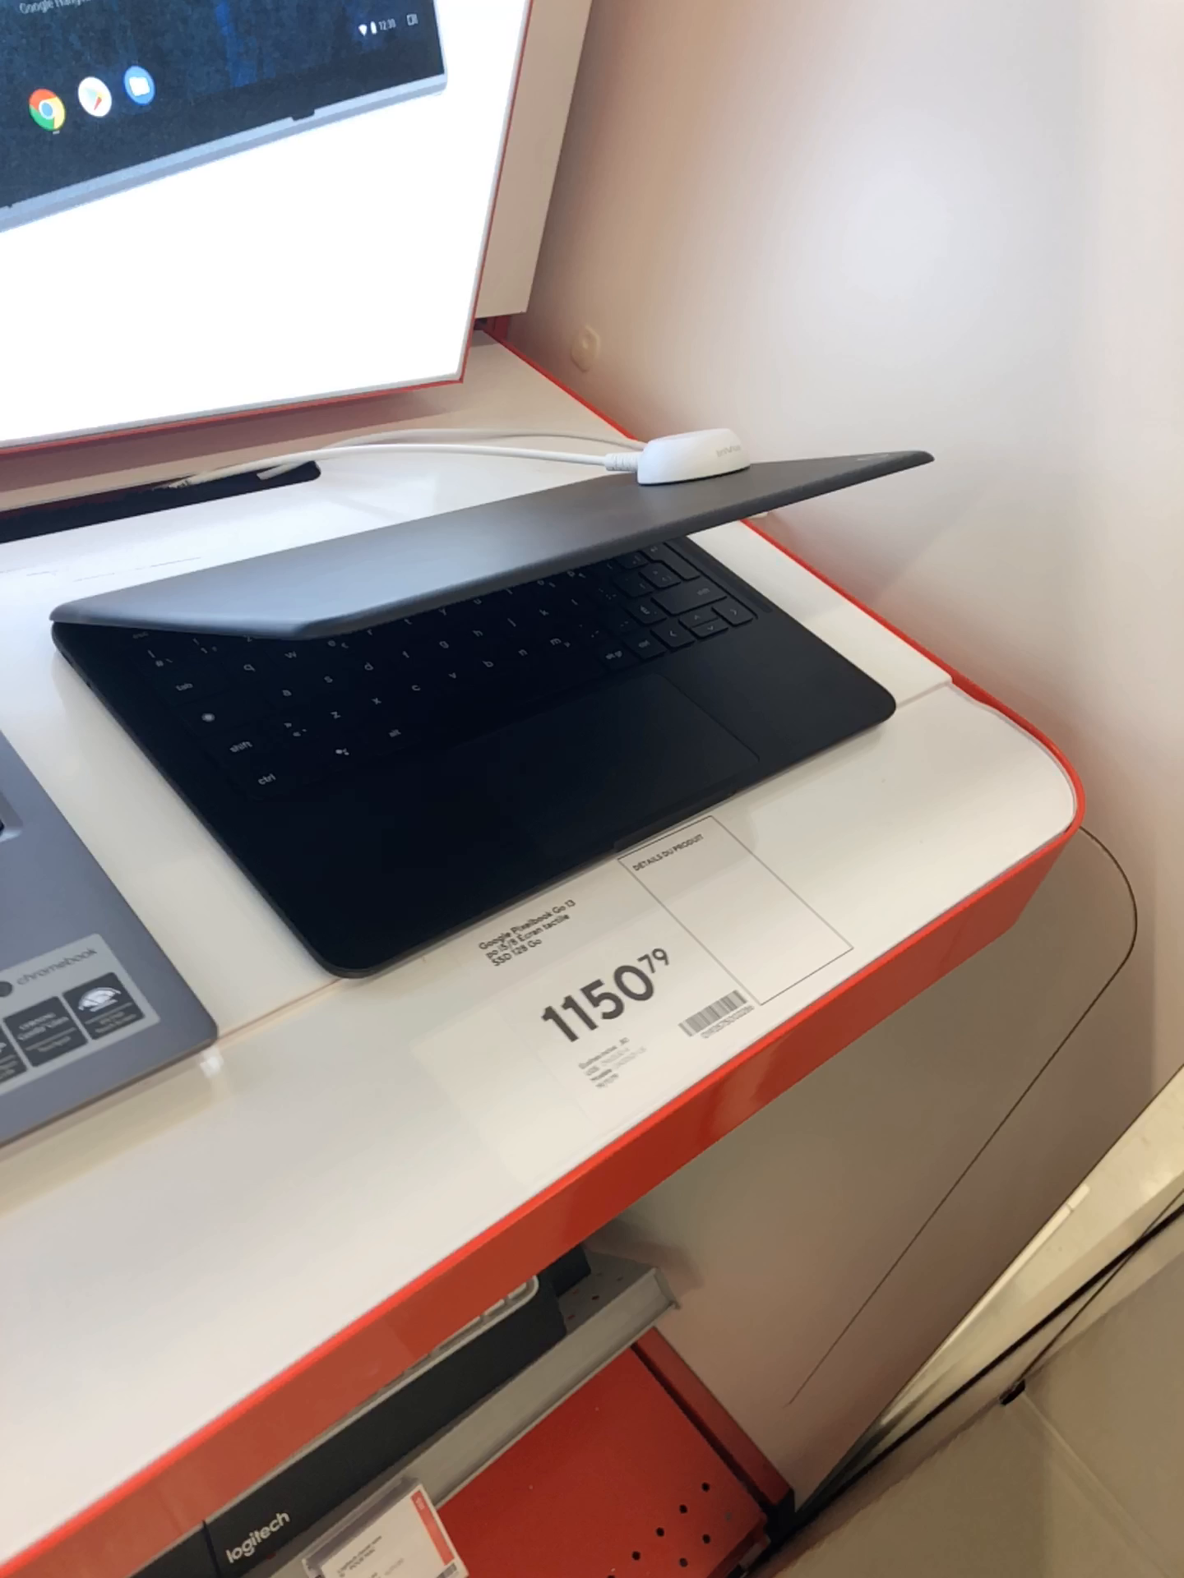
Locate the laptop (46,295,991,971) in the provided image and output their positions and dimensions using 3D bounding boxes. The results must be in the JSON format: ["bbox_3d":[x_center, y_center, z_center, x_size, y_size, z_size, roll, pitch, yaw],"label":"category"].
[{"bbox_3d":[-0.023,-0.089,0.515,0.299,0.106,0.199,-24,54,-38],"label":"laptop"}]
